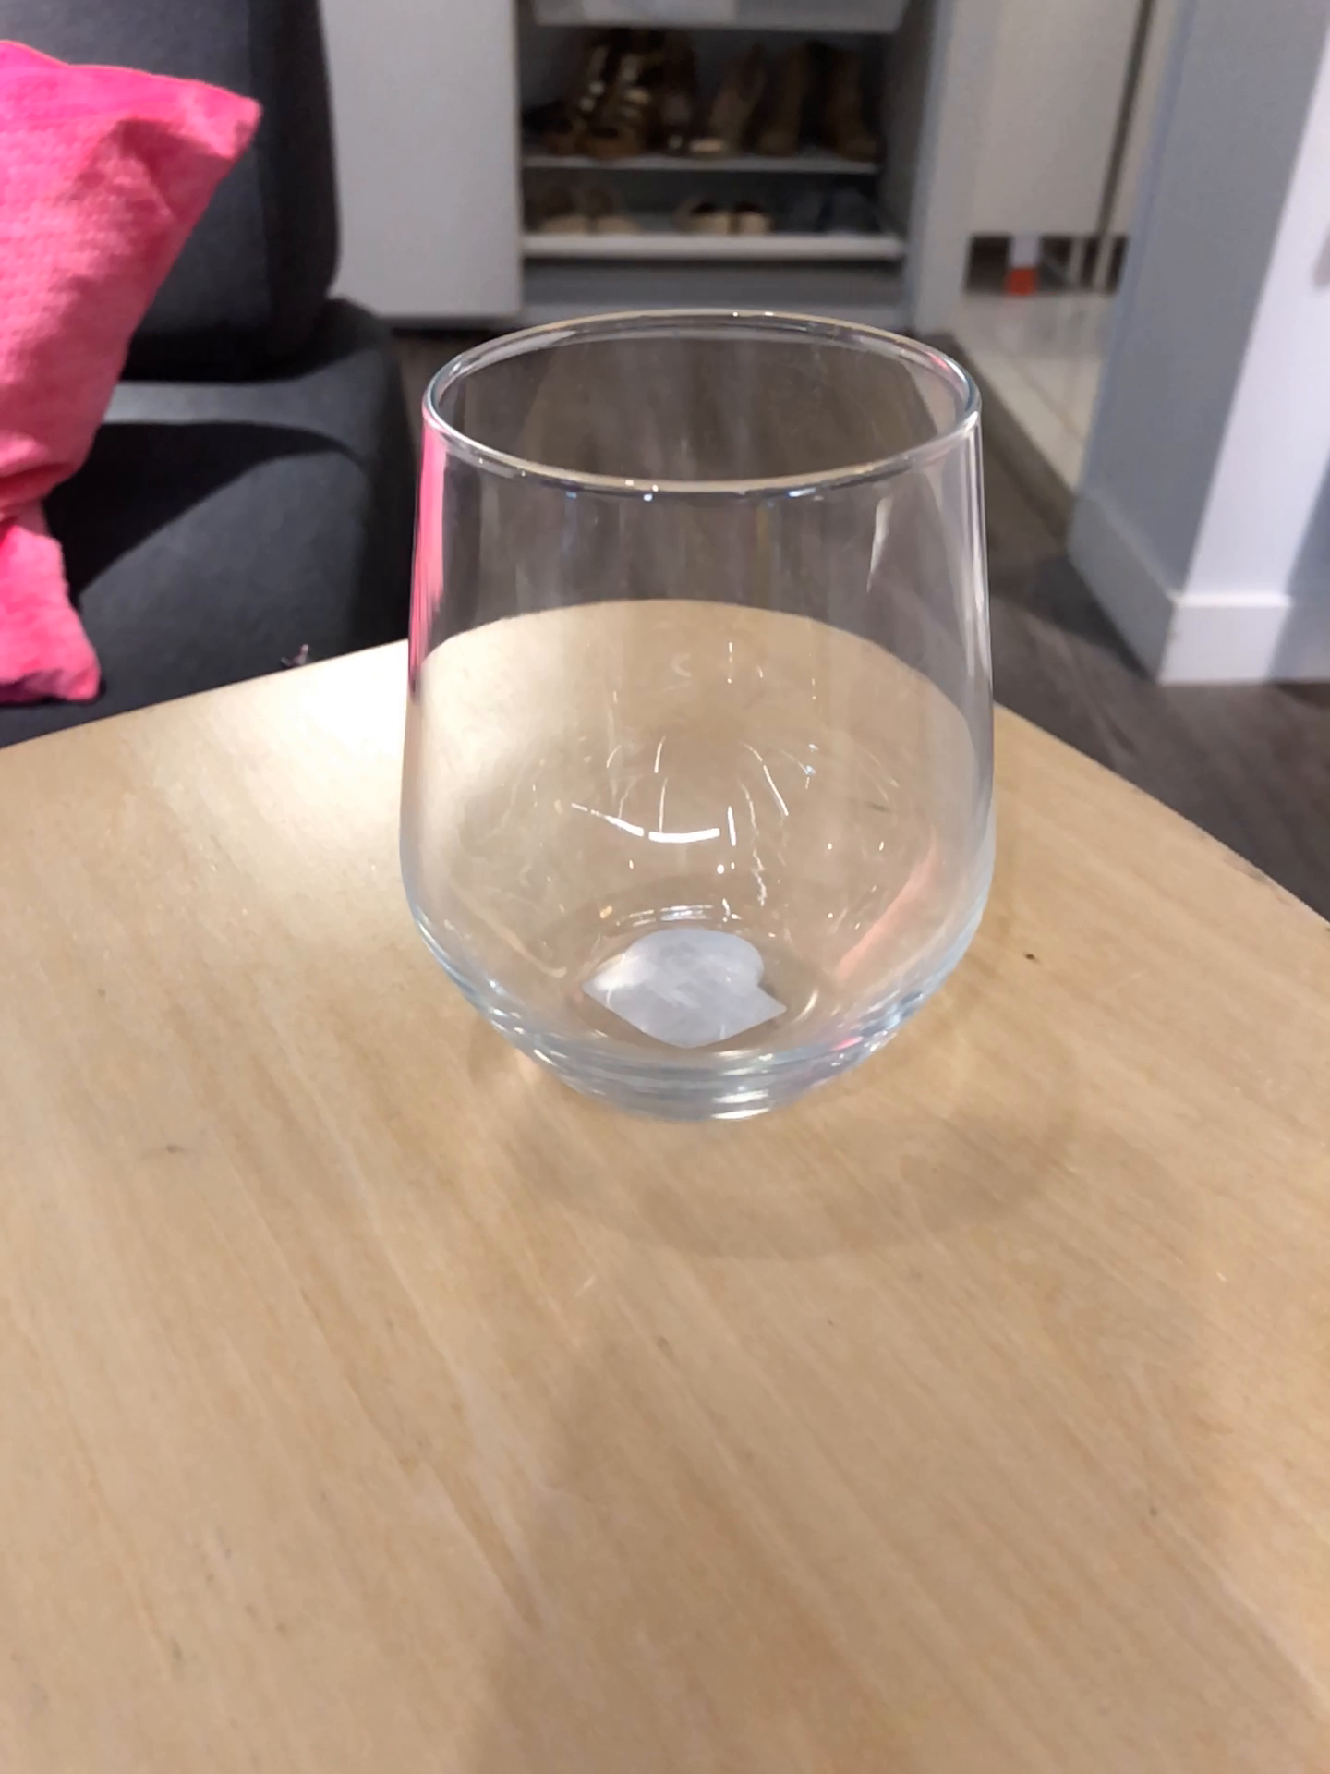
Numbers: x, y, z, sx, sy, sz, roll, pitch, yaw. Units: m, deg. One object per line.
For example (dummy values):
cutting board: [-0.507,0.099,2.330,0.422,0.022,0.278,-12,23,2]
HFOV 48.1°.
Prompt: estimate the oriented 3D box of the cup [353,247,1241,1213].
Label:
cup: [0.007,-0.026,0.212,0.090,0.100,0.090,1,37,-1]
